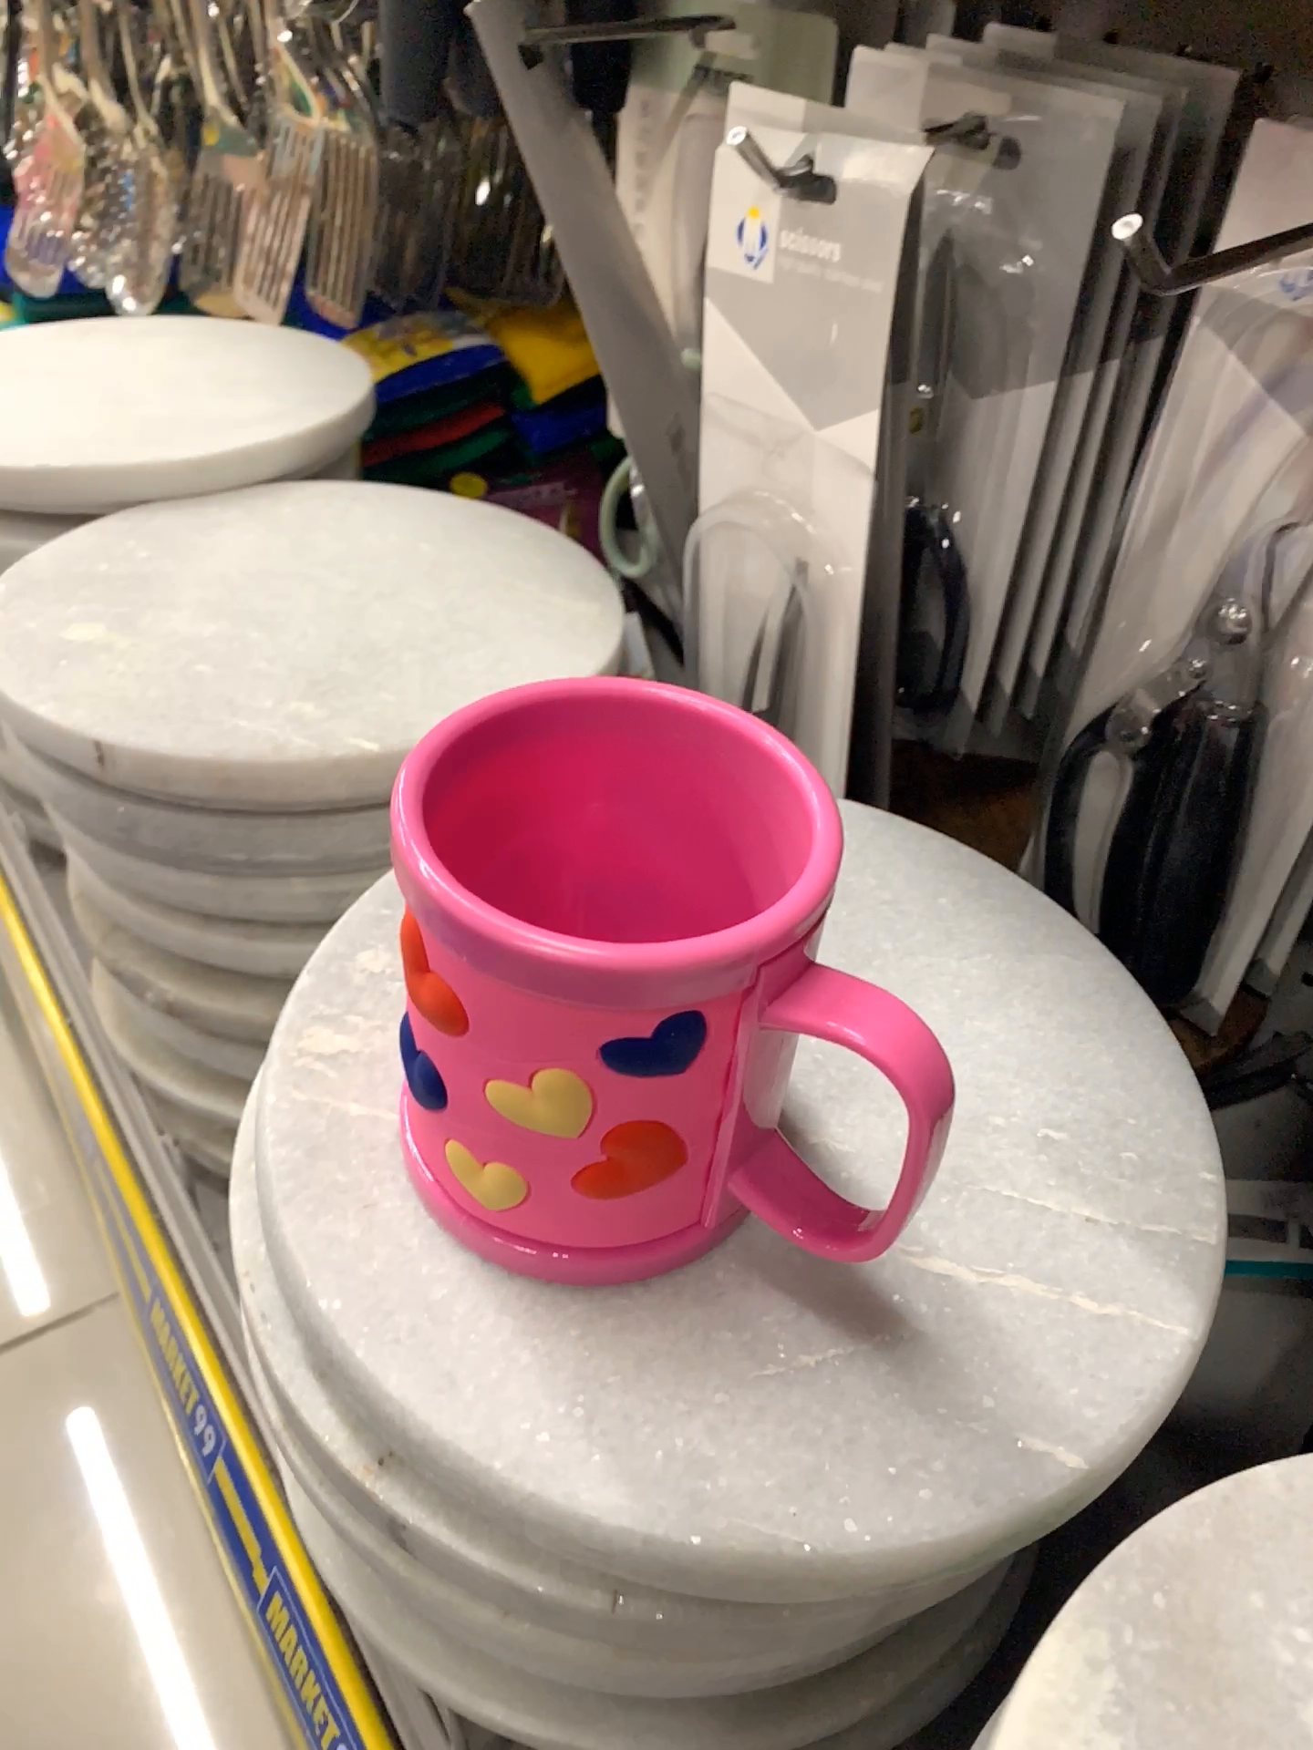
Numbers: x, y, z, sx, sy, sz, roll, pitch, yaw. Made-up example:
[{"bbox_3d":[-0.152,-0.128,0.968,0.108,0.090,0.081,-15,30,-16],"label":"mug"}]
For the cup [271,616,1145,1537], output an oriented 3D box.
[{"bbox_3d":[0.005,0.030,0.254,0.120,0.100,0.080,28,44,28],"label":"cup"}]
